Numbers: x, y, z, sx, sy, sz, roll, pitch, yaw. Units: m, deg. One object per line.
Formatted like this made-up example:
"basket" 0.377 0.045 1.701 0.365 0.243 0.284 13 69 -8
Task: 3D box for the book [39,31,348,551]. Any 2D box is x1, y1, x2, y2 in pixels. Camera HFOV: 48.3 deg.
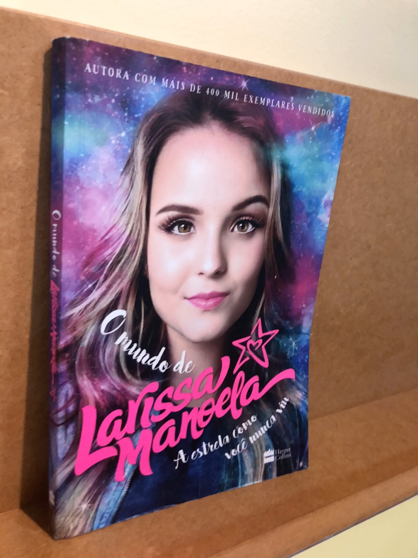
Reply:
"book" -0.006 0.012 0.238 0.150 0.222 0.020 -3 14 -29
